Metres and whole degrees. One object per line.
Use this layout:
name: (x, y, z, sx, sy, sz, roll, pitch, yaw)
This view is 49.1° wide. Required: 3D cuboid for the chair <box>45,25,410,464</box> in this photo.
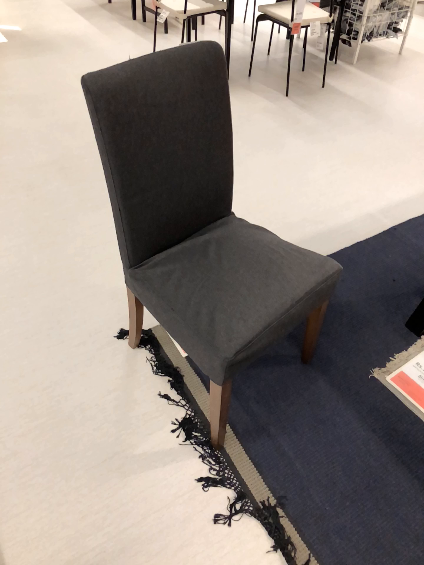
chair: (0.018, -0.083, 1.313, 0.542, 0.964, 0.552, -33, 54, -31)
